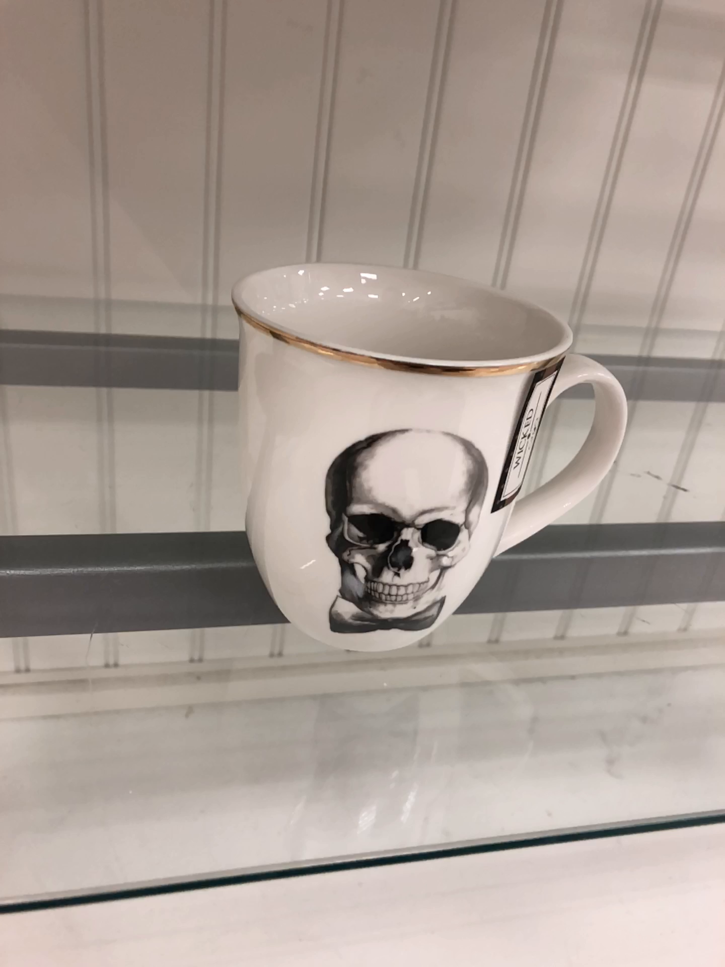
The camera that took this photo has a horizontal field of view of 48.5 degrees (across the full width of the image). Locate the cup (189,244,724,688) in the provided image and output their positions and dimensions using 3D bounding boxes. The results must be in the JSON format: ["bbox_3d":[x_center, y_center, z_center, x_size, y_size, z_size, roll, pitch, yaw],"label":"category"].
[{"bbox_3d":[0.024,-0.016,0.247,0.131,0.088,0.095,-6,30,-24],"label":"cup"}]
